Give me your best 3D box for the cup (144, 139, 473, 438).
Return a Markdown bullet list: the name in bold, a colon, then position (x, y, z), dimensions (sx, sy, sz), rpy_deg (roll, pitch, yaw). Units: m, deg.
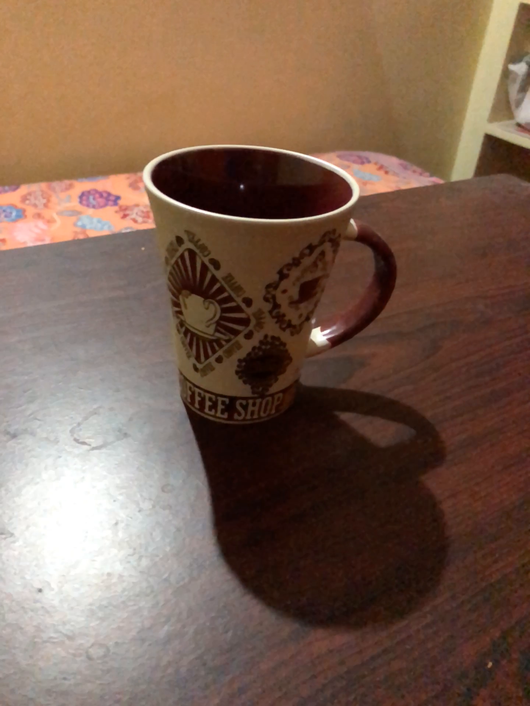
- **cup**: position (0.008, -0.036, 0.281), dimensions (0.120, 0.099, 0.101), rpy_deg (-3, 35, -12)
